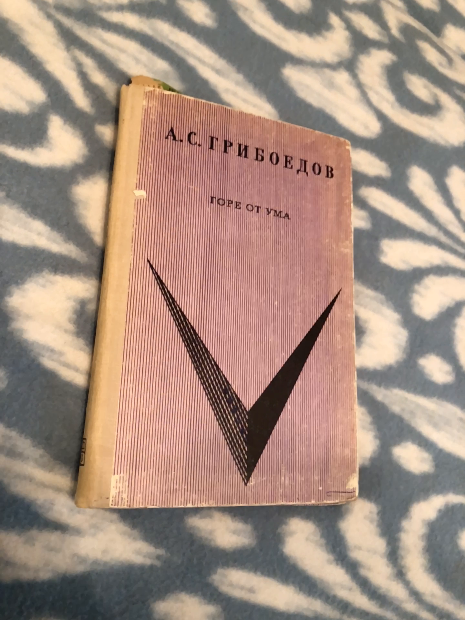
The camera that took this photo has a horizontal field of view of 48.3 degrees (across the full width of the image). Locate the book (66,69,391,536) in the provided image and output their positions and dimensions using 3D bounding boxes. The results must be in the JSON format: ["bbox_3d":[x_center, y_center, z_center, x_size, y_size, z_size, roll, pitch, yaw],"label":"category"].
[{"bbox_3d":[0.009,-0.003,0.271,0.158,0.020,0.217,7,76,-20],"label":"book"}]
